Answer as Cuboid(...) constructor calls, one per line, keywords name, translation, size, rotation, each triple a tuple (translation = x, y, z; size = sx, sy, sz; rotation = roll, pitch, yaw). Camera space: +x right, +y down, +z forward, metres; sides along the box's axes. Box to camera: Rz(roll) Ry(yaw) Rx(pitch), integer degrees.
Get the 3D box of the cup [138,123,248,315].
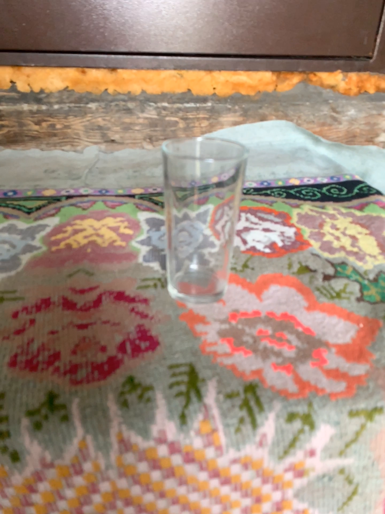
Cuboid(name="cup", translation=(0.002, -0.029, 0.284), size=(0.060, 0.119, 0.061), rotation=(1, 29, -1))
